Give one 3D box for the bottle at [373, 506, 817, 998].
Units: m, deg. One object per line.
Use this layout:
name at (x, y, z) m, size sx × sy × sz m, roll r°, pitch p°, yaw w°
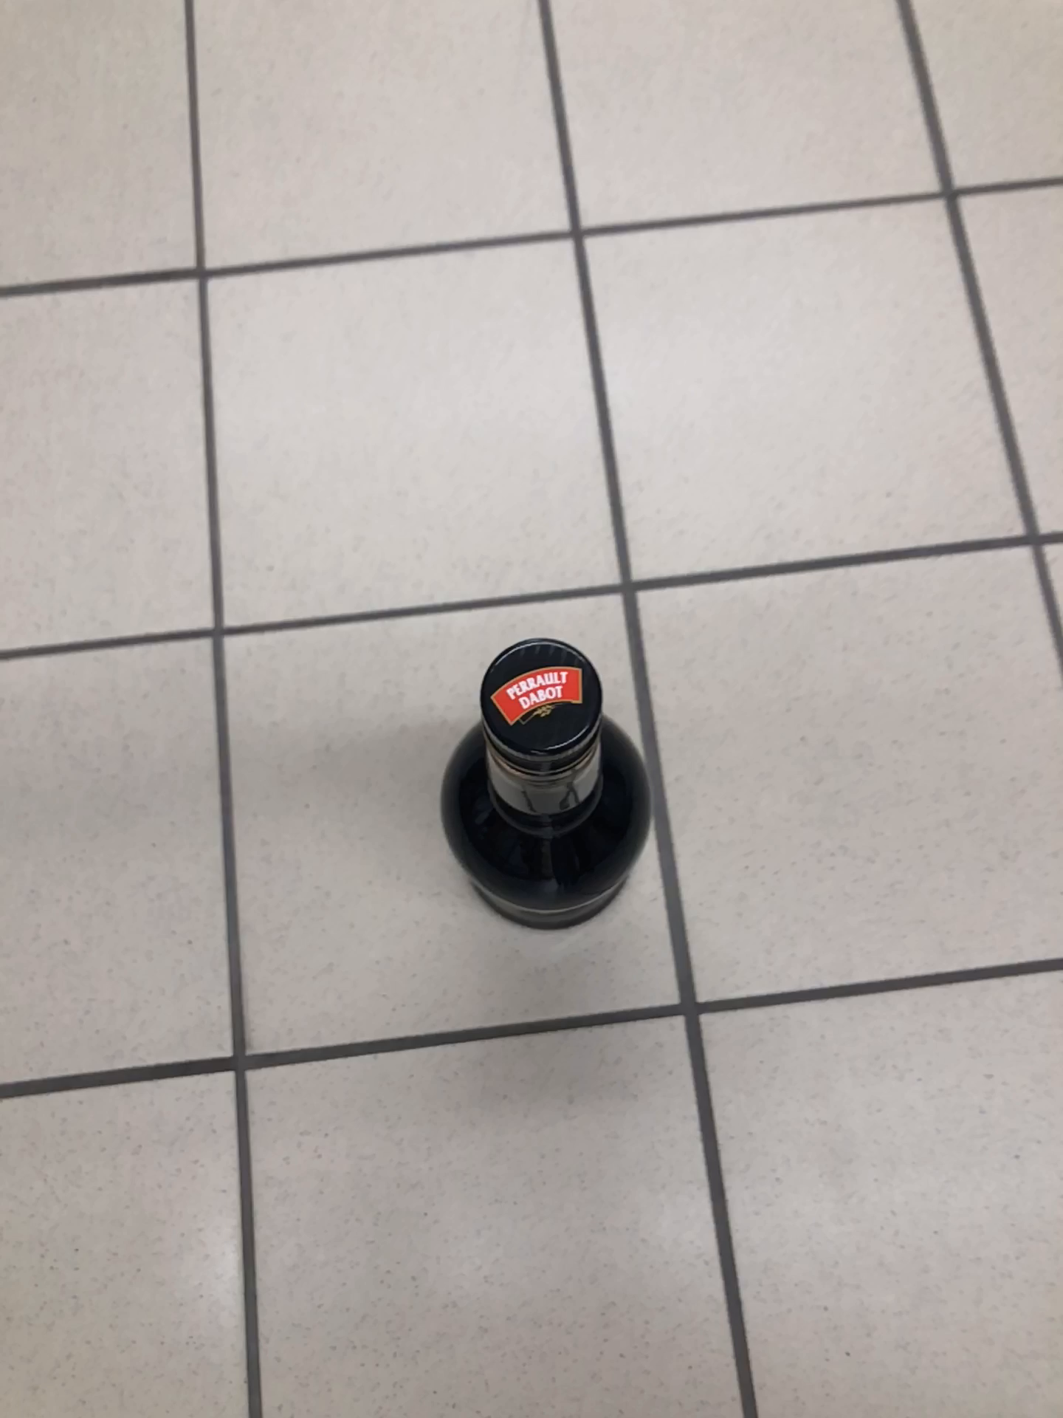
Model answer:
bottle at (0.016, 0.038, 0.418) m, size 0.080 × 0.260 × 0.090 m, roll -24°, pitch 75°, yaw -6°
